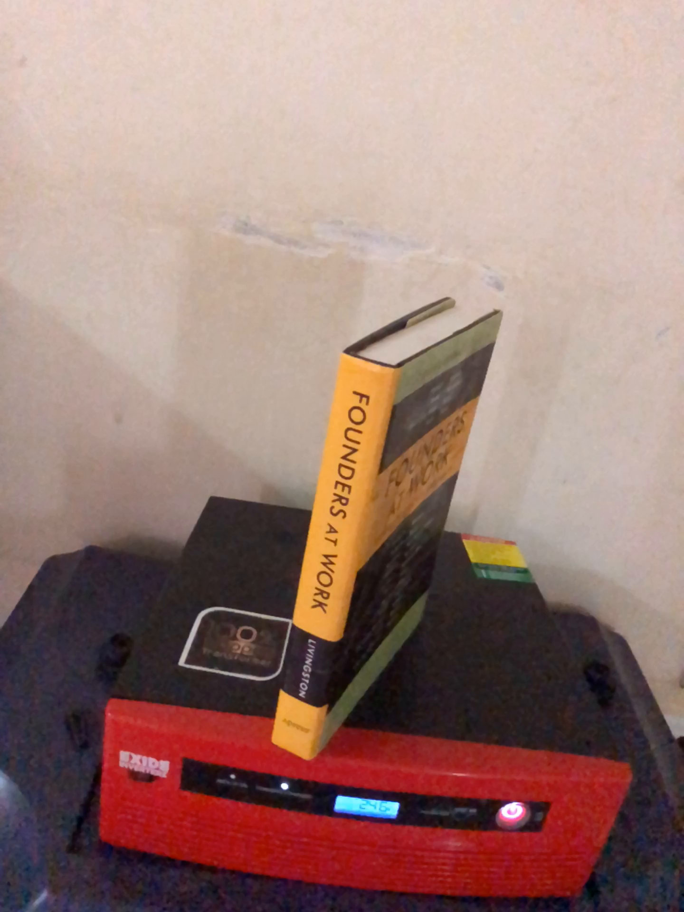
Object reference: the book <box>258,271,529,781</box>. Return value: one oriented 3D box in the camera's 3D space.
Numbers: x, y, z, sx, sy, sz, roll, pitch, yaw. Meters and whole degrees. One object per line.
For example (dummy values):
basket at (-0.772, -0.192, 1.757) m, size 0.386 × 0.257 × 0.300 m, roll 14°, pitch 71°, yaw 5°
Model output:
book at (0.032, 0.033, 0.443) m, size 0.040 × 0.249 × 0.181 m, roll 22°, pitch 29°, yaw 22°
